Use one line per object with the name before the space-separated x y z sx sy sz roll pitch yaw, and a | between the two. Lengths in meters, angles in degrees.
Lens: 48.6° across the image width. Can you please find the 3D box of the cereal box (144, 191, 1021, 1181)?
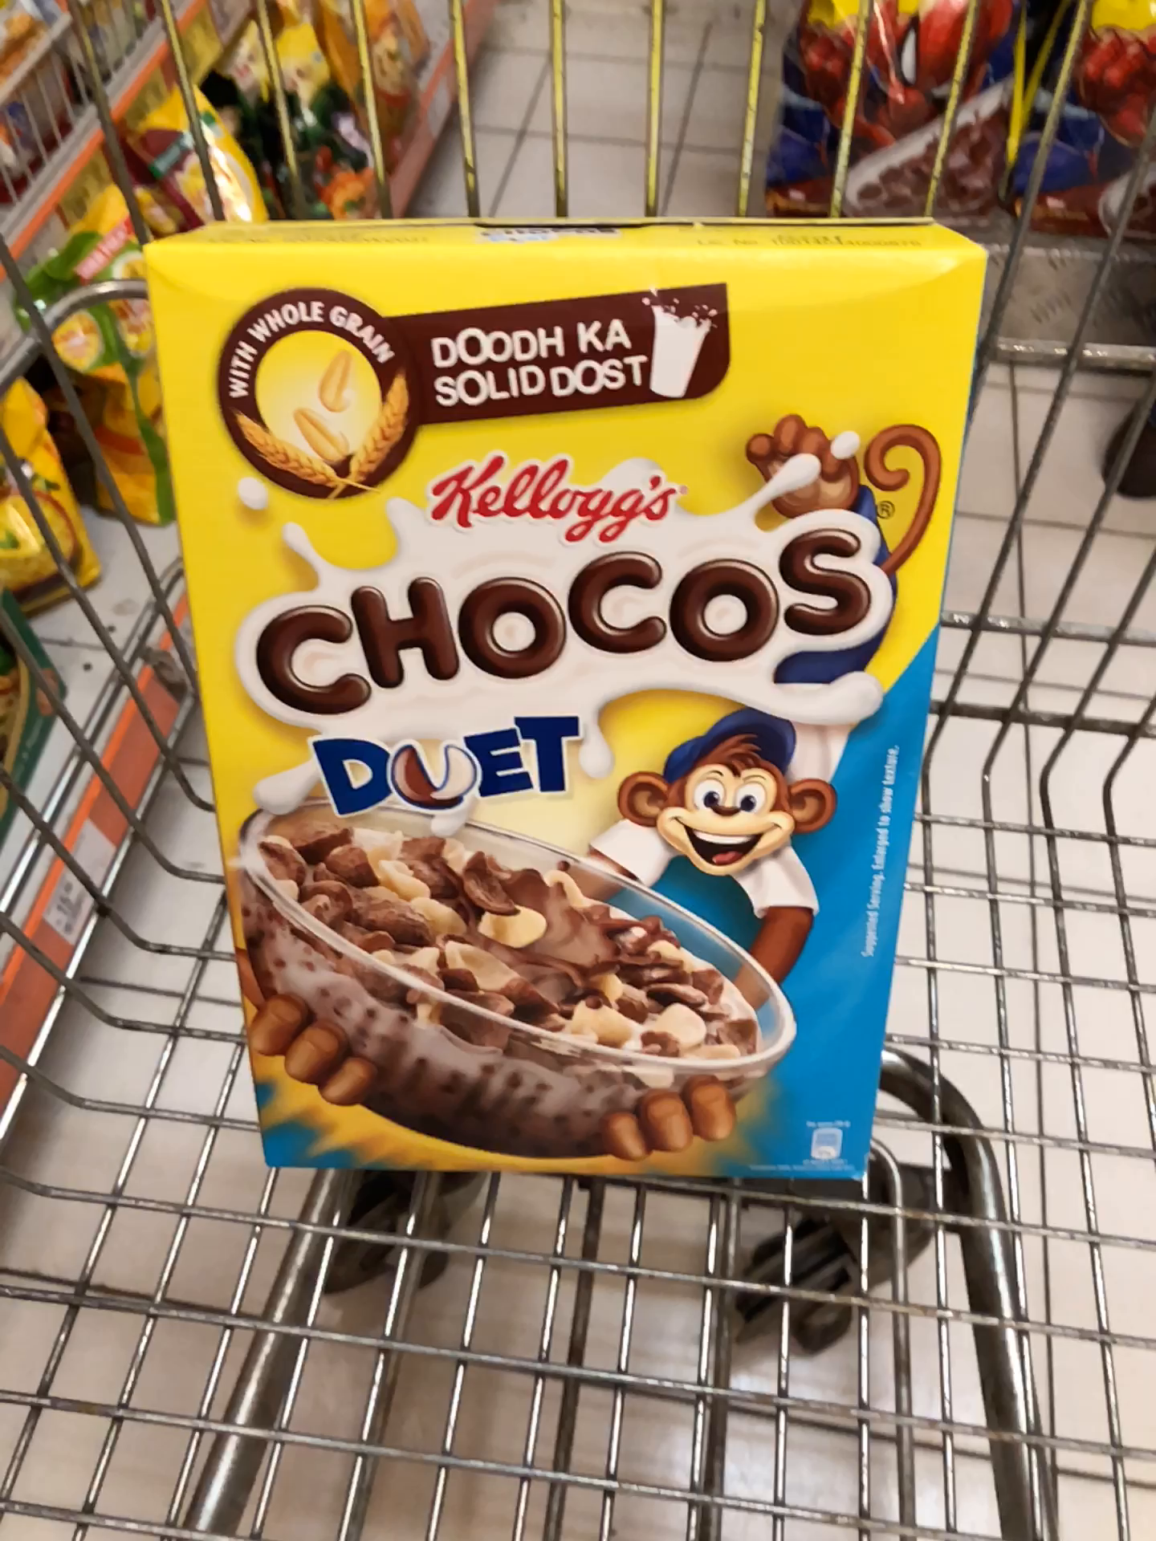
cereal box | 0.000 -0.014 0.350 0.180 0.259 0.070 1 26 1
